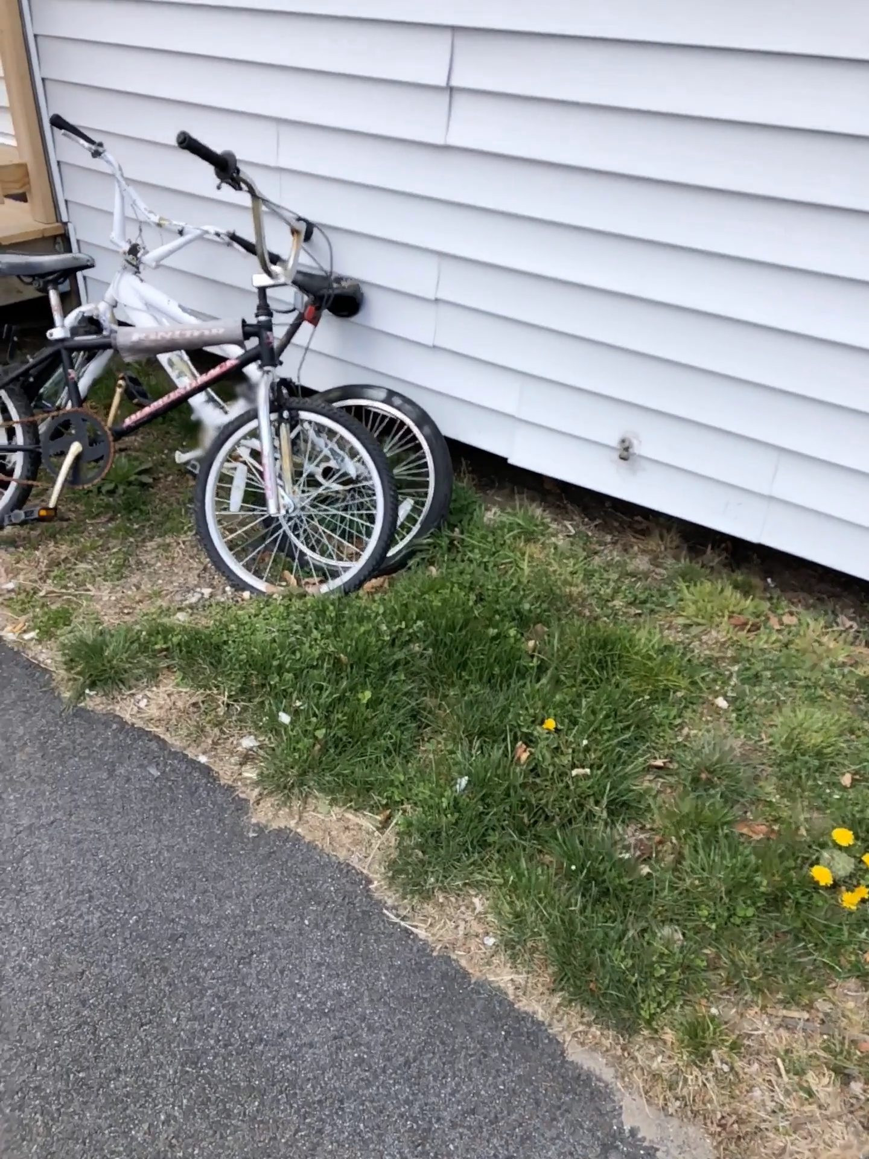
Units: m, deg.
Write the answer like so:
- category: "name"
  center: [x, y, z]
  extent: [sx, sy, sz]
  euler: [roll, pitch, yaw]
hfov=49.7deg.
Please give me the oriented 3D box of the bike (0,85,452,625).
- category: "bike"
  center: [-0.665, -0.550, 2.120]
  extent: [1.294, 0.932, 0.762]
  euler: [5, 33, 7]
